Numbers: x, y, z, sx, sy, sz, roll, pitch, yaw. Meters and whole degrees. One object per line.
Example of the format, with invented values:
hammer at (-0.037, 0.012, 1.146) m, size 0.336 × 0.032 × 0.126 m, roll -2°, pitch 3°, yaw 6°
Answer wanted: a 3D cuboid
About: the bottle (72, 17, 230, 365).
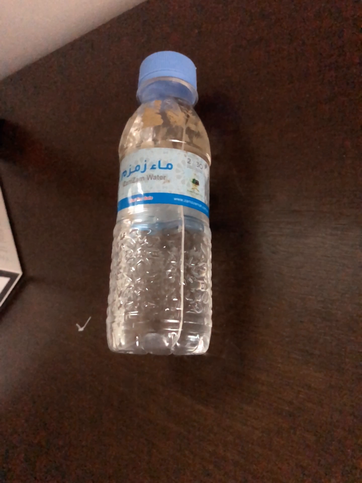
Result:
bottle at (-0.012, -0.022, 0.206) m, size 0.050 × 0.050 × 0.160 m, roll -11°, pitch 69°, yaw 31°
